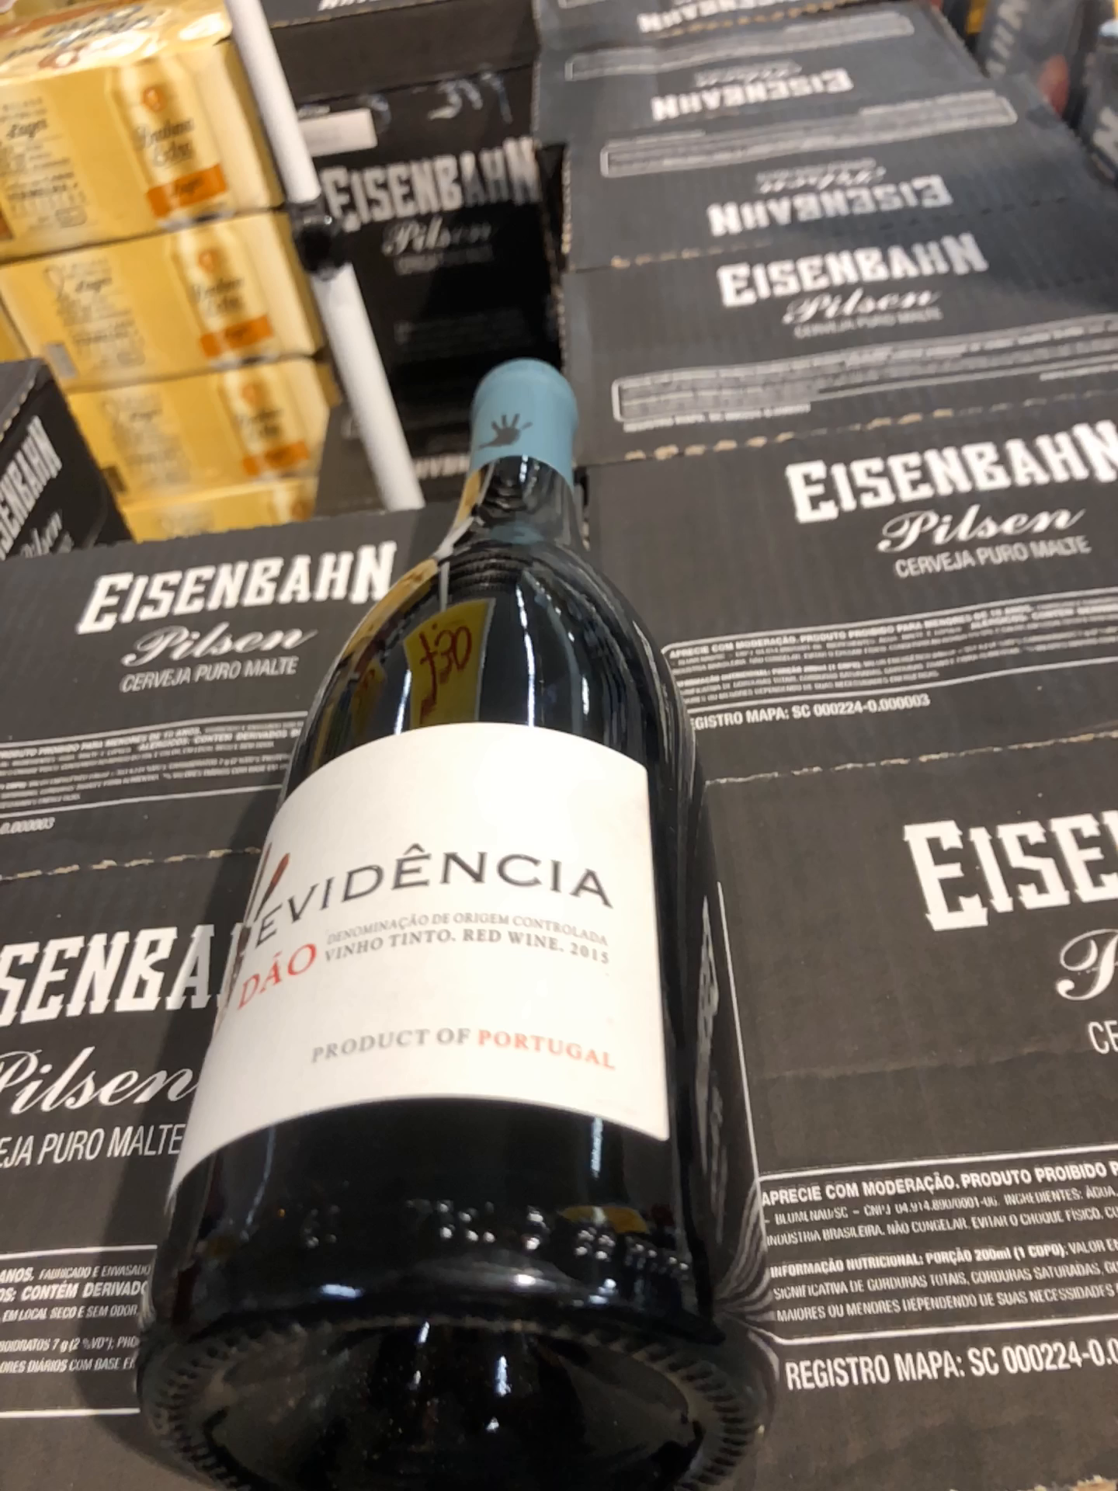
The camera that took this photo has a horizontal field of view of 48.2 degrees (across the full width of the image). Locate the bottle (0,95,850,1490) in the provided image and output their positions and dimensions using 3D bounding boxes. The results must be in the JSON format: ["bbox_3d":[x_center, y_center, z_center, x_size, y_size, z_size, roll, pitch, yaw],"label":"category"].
[{"bbox_3d":[-0.016,-0.030,0.271,0.100,0.089,0.332,-7,44,6],"label":"bottle"}]
